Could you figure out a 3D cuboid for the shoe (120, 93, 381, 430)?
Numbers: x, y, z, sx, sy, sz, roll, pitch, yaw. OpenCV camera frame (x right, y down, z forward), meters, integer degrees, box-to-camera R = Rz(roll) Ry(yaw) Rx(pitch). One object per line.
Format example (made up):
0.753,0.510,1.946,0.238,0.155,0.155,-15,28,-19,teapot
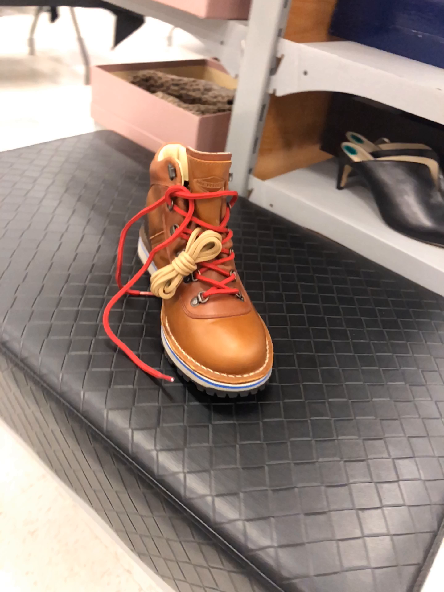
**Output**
-0.007,-0.055,0.492,0.122,0.180,0.299,-4,41,-22,shoe
